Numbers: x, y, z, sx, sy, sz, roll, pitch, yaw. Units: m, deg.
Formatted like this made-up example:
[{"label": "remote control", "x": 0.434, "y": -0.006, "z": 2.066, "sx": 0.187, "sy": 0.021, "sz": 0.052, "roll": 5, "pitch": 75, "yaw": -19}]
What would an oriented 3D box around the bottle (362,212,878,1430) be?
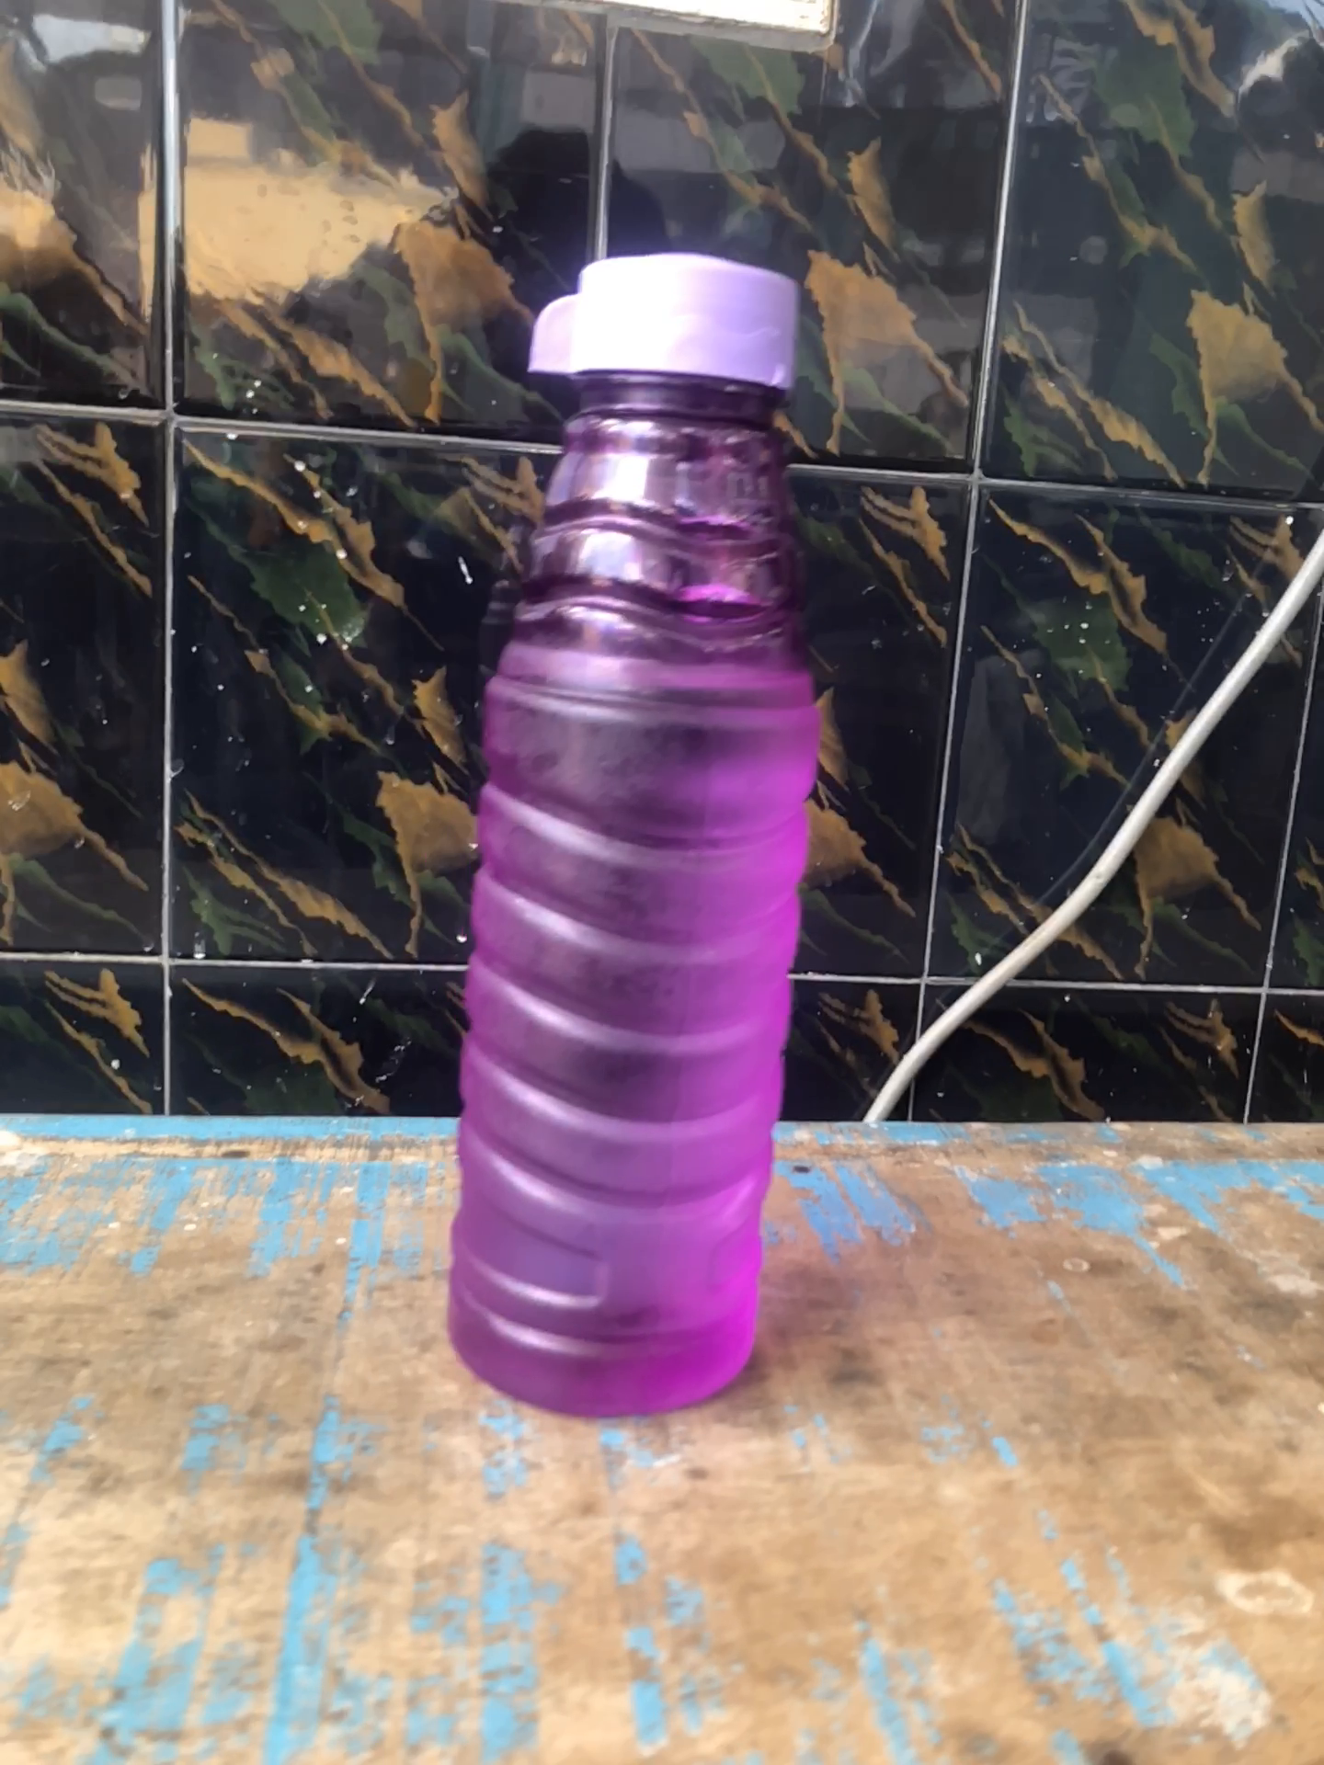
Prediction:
[{"label": "bottle", "x": -0.010, "y": -0.012, "z": 0.329, "sx": 0.090, "sy": 0.239, "sz": 0.080, "roll": 4, "pitch": 12, "yaw": 3}]
